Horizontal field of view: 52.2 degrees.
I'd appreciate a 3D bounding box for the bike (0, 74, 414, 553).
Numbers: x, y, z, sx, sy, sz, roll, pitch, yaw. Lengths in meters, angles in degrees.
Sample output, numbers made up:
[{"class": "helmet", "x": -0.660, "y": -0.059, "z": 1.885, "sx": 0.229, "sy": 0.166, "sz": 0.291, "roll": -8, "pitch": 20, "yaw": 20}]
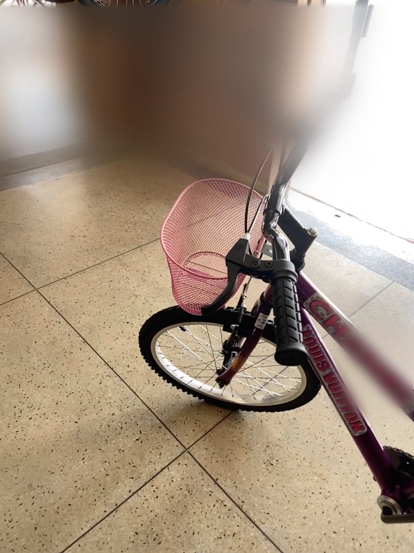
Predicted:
[{"class": "bike", "x": 0.322, "y": 0.307, "z": 0.722, "sx": 1.263, "sy": 0.933, "sz": 0.618, "roll": 28, "pitch": 43, "yaw": 30}]
